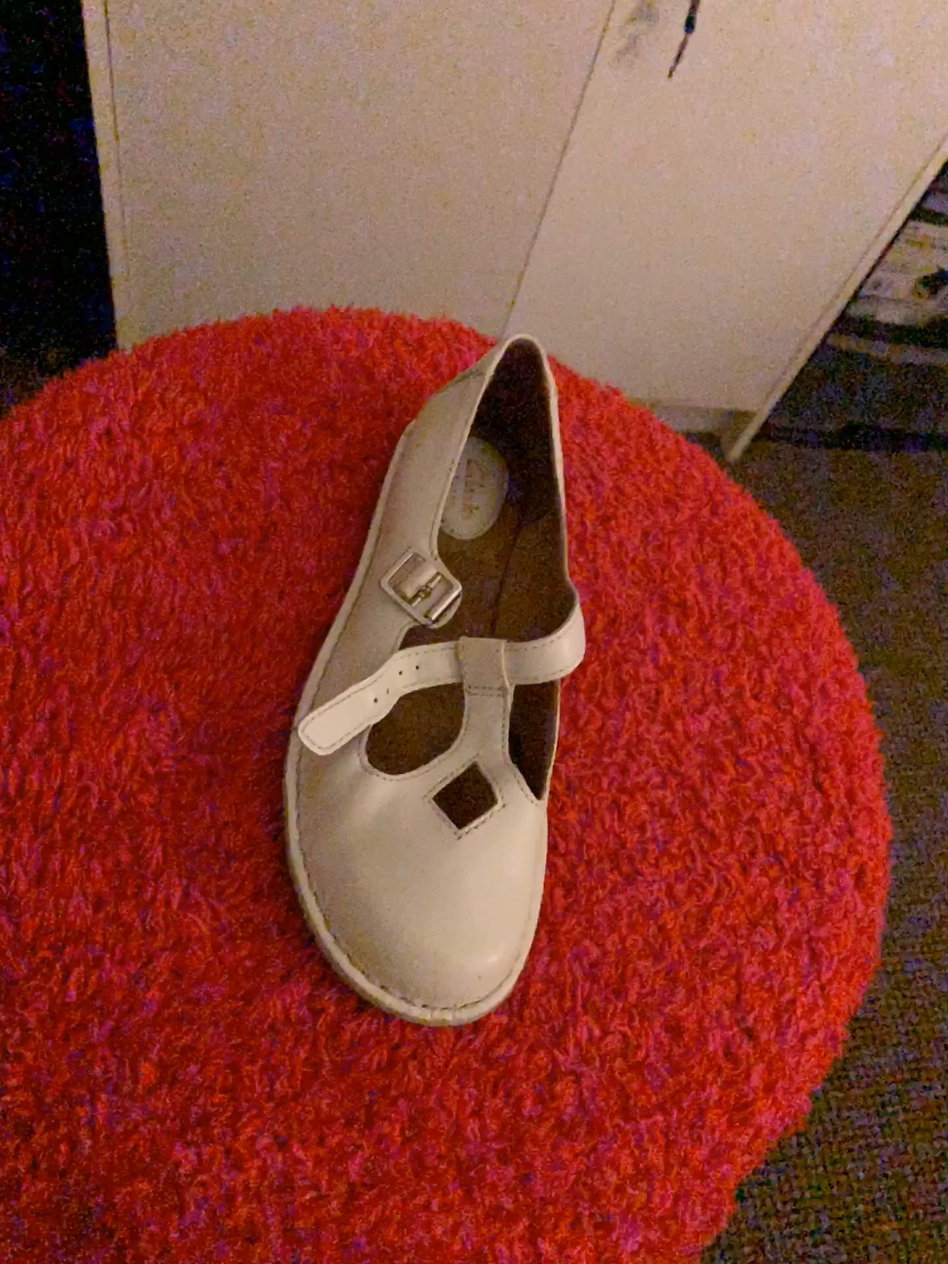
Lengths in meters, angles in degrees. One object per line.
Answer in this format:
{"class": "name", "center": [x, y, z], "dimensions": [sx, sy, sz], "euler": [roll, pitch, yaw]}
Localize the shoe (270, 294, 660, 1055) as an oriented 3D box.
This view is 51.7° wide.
{"class": "shoe", "center": [-0.006, 0.007, 0.363], "dimensions": [0.100, 0.089, 0.261], "euler": [8, 57, -10]}
